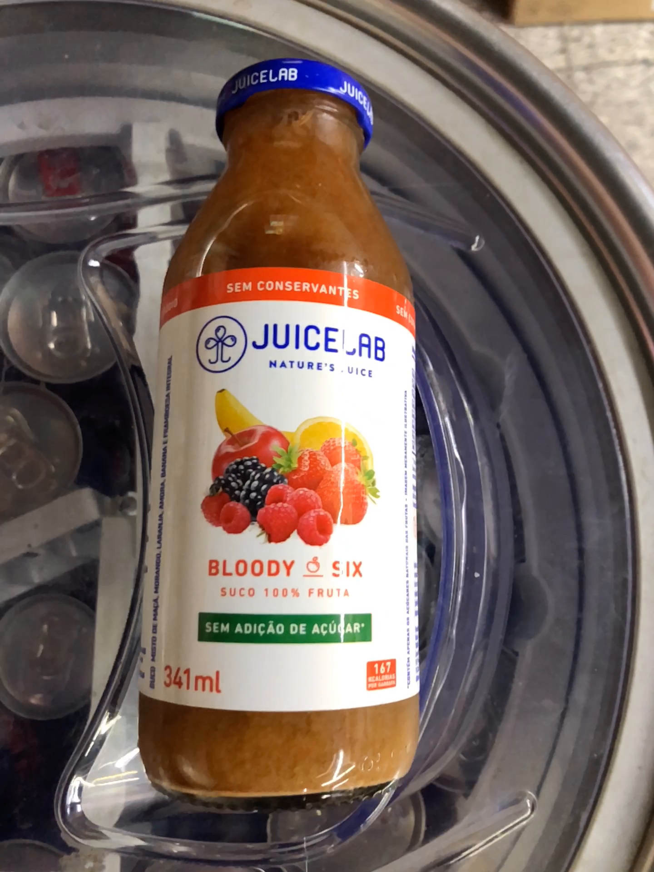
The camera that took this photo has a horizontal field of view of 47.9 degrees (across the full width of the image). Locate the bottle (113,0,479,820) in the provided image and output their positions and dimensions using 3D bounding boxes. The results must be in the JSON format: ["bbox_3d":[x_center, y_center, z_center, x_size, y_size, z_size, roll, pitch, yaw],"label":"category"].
[{"bbox_3d":[-0.010,-0.016,0.188,0.070,0.060,0.190,3,77,-12],"label":"bottle"}]
